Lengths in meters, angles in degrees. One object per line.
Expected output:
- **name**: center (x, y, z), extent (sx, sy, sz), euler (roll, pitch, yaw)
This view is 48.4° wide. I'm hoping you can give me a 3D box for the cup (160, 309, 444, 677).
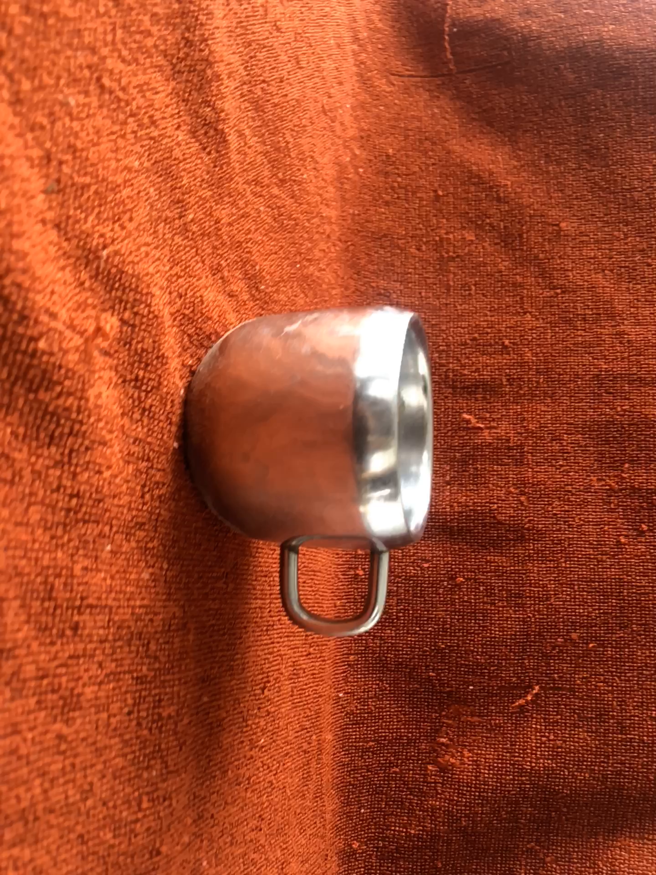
- **cup**: center (-0.002, 0.011, 0.213), extent (0.060, 0.060, 0.090), euler (-36, 124, -70)
